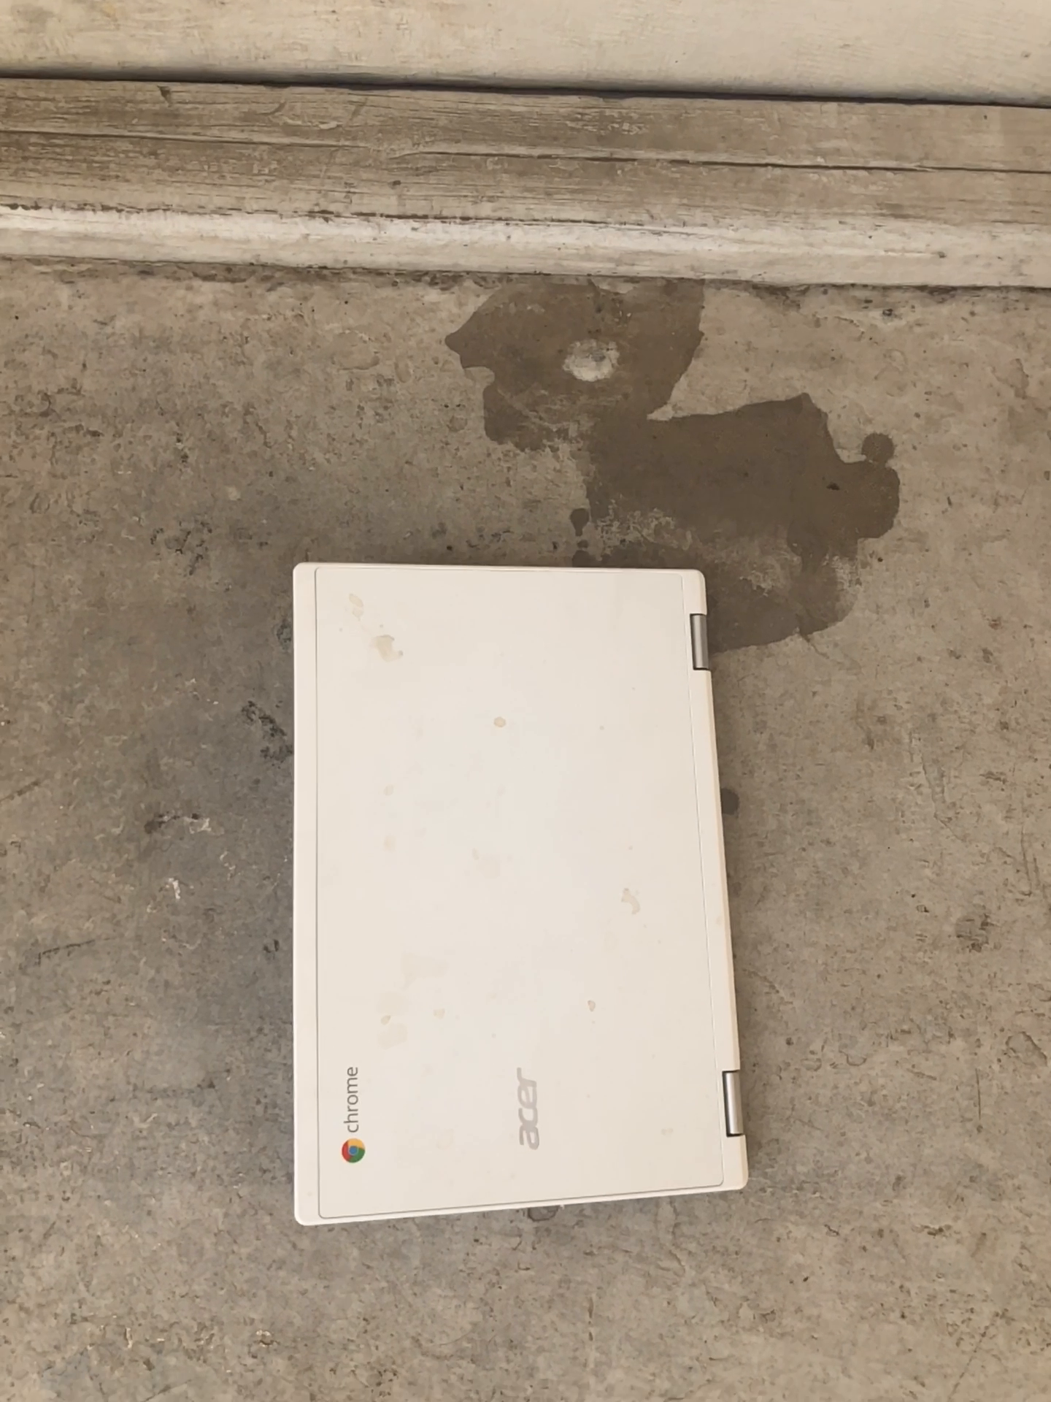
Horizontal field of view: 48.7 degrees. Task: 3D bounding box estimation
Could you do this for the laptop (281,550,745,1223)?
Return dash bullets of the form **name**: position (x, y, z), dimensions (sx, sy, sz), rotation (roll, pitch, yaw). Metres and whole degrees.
- **laptop**: position (-0.009, 0.075, 0.522), dimensions (0.190, 0.046, 0.278), rotation (-2, 79, -2)
